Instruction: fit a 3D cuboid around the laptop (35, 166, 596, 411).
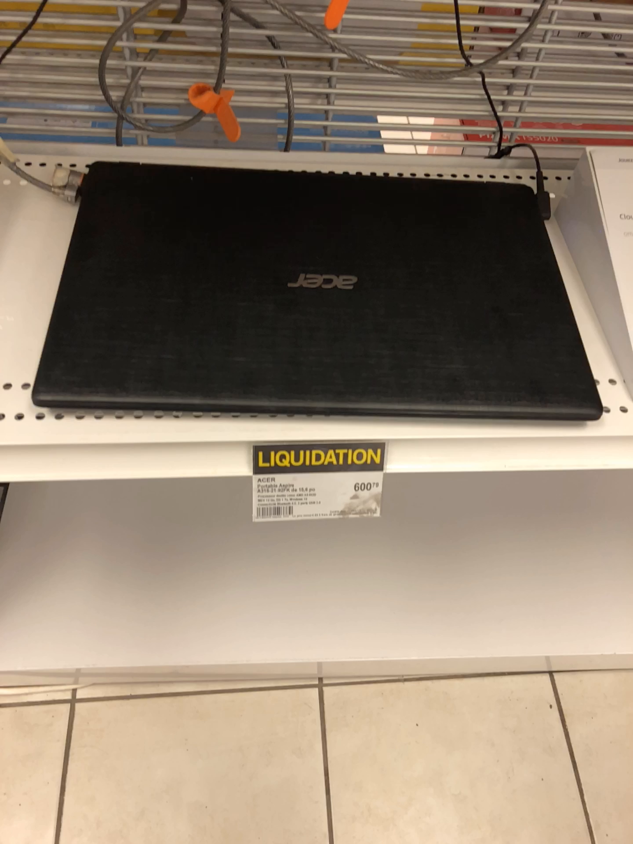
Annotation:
[{"bbox_3d":[0.005,-0.112,0.535,0.374,0.003,0.248,1,54,-5],"label":"laptop"}]
